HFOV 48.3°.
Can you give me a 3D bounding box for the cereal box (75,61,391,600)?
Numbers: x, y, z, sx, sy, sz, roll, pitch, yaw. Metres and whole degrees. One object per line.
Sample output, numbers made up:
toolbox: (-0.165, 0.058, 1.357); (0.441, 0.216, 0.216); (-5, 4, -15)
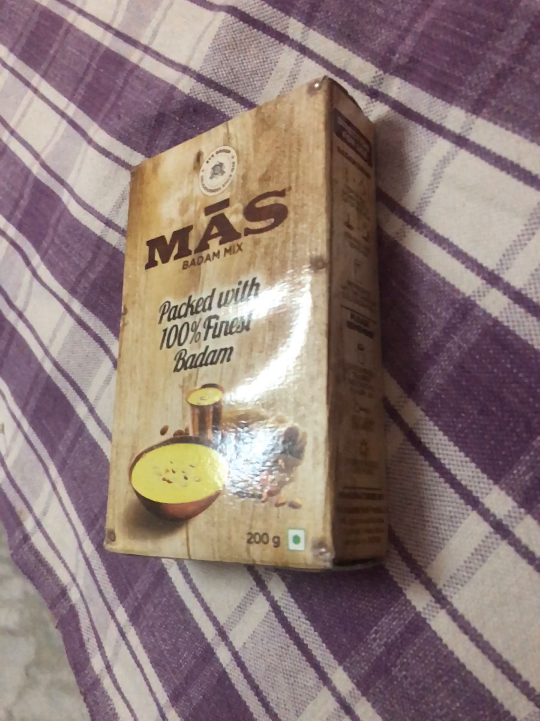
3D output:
cereal box: (-0.014, -0.005, 0.180); (0.090, 0.030, 0.130); (-8, 75, 37)
